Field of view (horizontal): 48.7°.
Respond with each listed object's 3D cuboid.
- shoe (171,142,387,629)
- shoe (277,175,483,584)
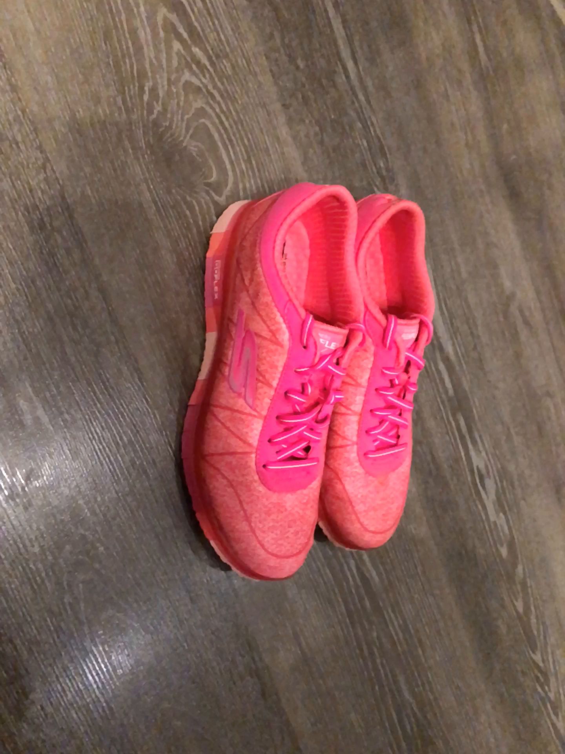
[{"bbox_3d":[-0.002,0.006,0.398,0.100,0.090,0.260,5,83,-36],"label":"shoe"},{"bbox_3d":[0.070,0.001,0.462,0.100,0.090,0.260,-2,87,-36],"label":"shoe"}]
